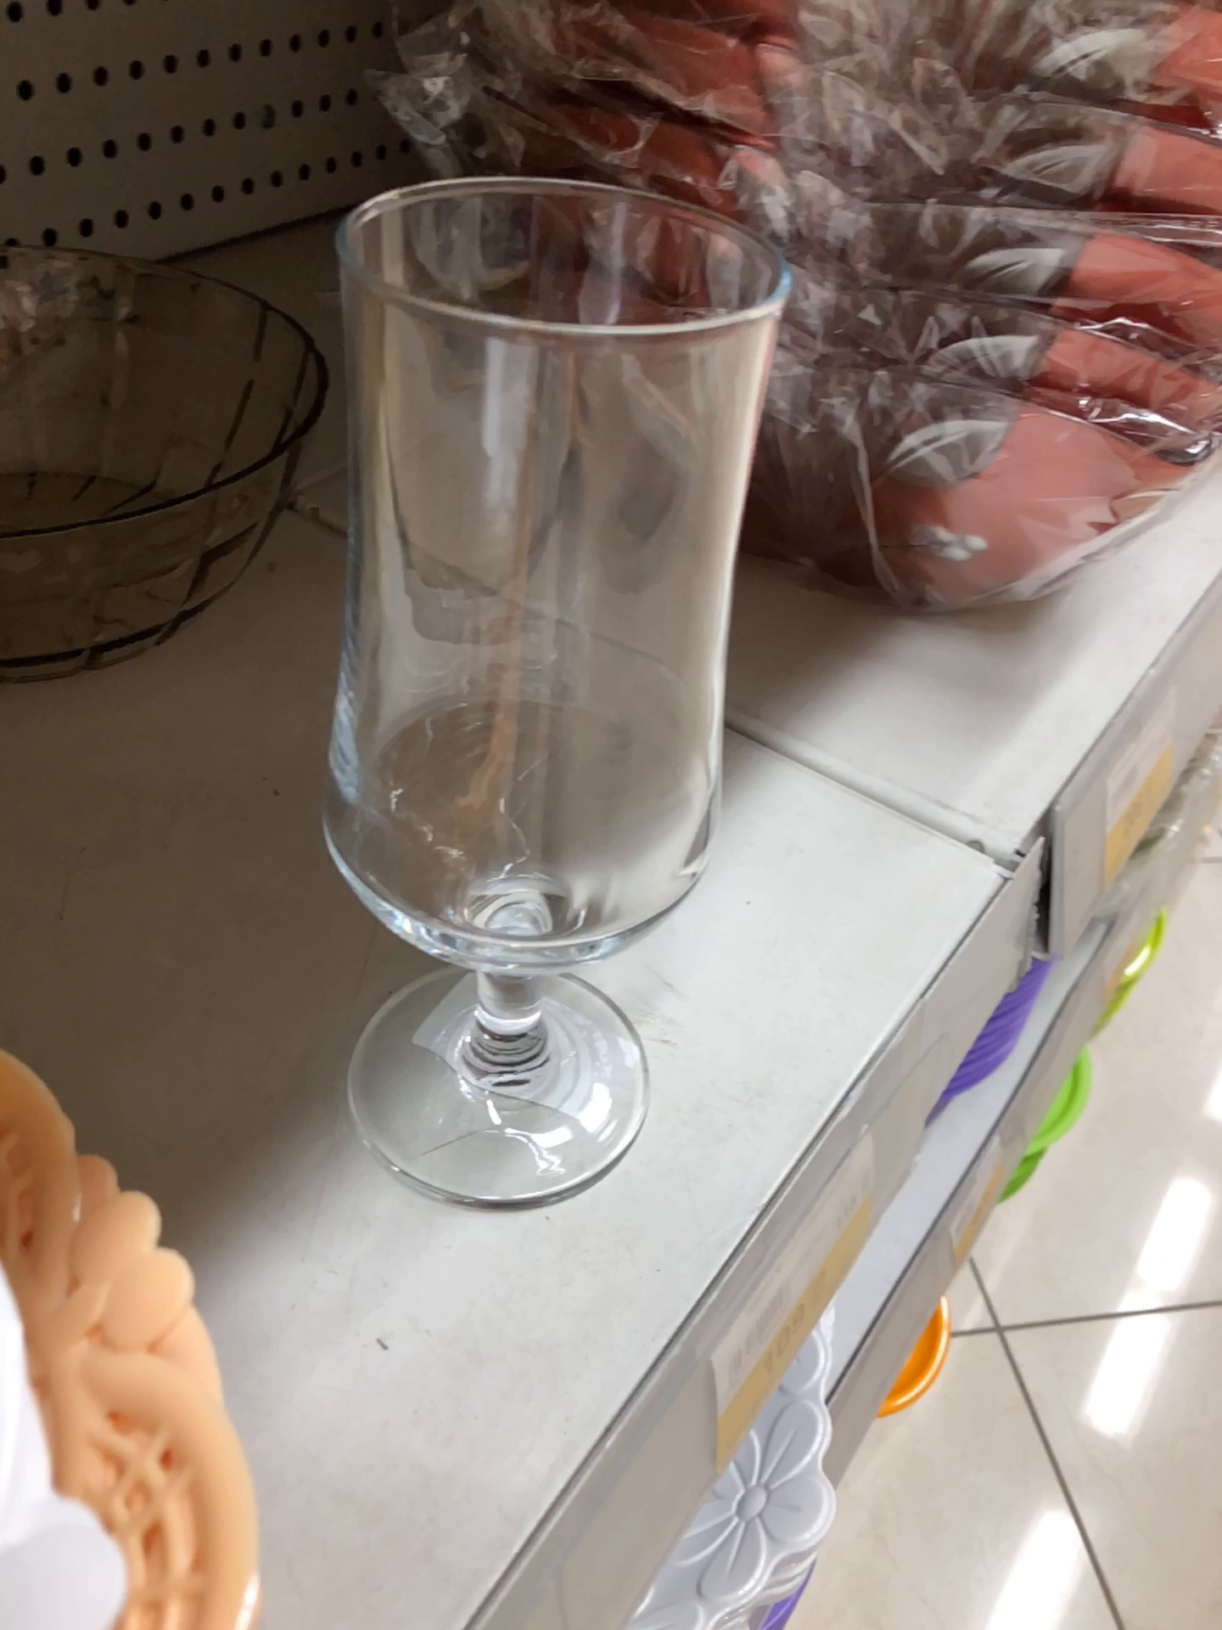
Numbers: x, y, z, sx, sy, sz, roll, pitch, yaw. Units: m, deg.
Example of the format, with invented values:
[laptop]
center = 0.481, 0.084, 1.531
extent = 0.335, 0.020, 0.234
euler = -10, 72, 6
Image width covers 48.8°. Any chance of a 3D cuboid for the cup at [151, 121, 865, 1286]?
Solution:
[cup]
center = -0.018, -0.010, 0.254
extent = 0.075, 0.194, 0.079
euler = 4, 41, -3
